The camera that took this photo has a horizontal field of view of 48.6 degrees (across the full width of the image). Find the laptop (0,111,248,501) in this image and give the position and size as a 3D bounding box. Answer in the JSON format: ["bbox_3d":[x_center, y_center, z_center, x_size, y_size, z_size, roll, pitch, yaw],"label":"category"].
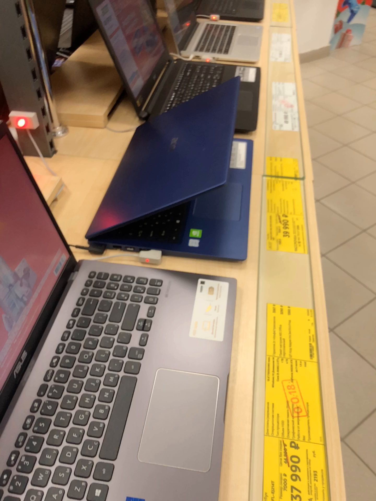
[{"bbox_3d":[-0.109,0.077,0.383,0.302,0.206,0.392,8,43,3],"label":"laptop"}]

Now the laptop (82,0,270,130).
[{"bbox_3d":[-0.002,-0.504,0.990,0.353,0.227,0.359,9,44,6],"label":"laptop"}]

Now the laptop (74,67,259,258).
[{"bbox_3d":[-0.009,-0.177,0.733,0.245,0.126,0.369,7,44,5],"label":"laptop"}]
